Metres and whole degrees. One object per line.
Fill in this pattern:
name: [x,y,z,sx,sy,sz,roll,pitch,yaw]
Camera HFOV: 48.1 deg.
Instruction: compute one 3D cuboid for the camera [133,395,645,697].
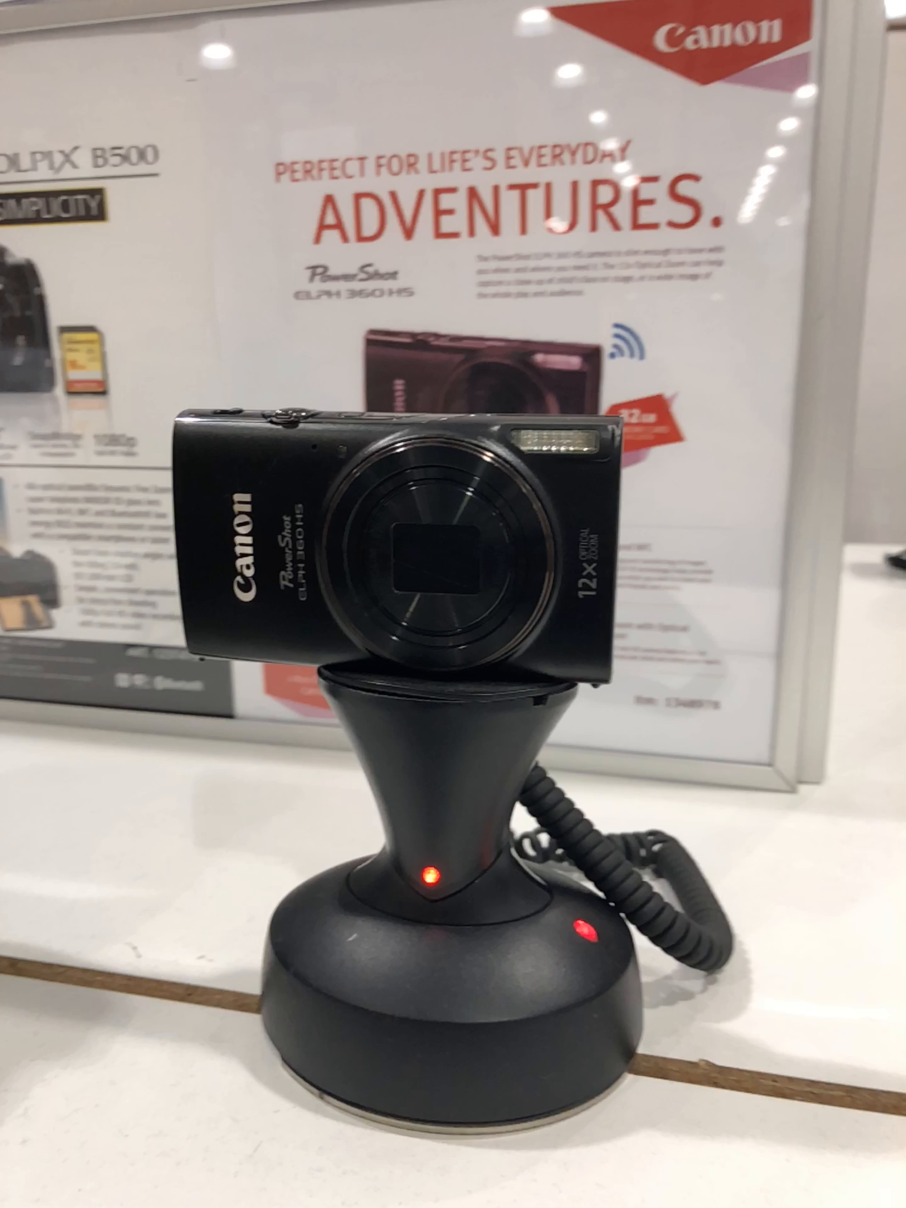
camera: [-0.014,-0.016,0.234,0.110,0.060,0.030,3,15,13]
